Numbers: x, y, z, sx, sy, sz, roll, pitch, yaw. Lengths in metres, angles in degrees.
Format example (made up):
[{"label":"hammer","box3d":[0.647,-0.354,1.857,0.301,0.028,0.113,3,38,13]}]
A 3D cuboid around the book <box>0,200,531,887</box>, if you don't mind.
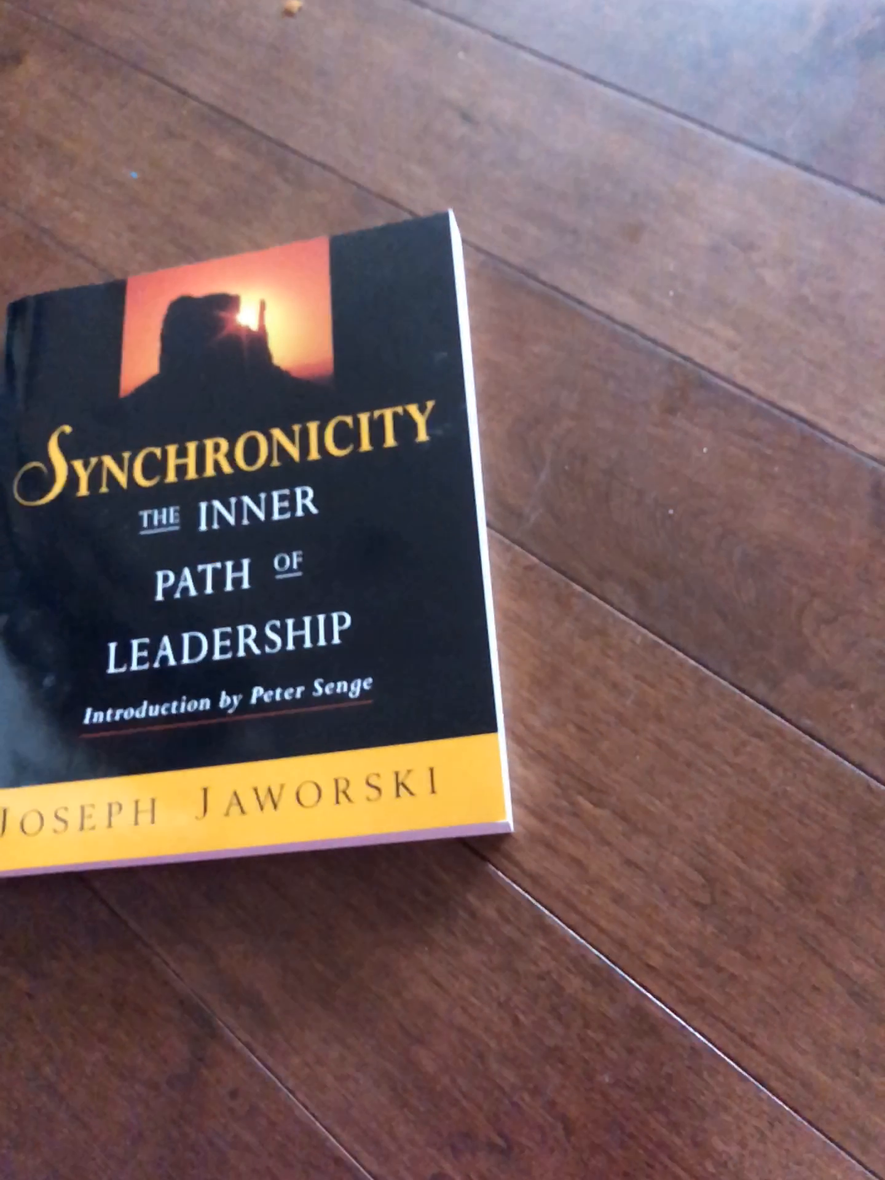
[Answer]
[{"label":"book","box3d":[-0.076,-0.020,0.349,0.190,0.030,0.223,-8,69,10]}]
